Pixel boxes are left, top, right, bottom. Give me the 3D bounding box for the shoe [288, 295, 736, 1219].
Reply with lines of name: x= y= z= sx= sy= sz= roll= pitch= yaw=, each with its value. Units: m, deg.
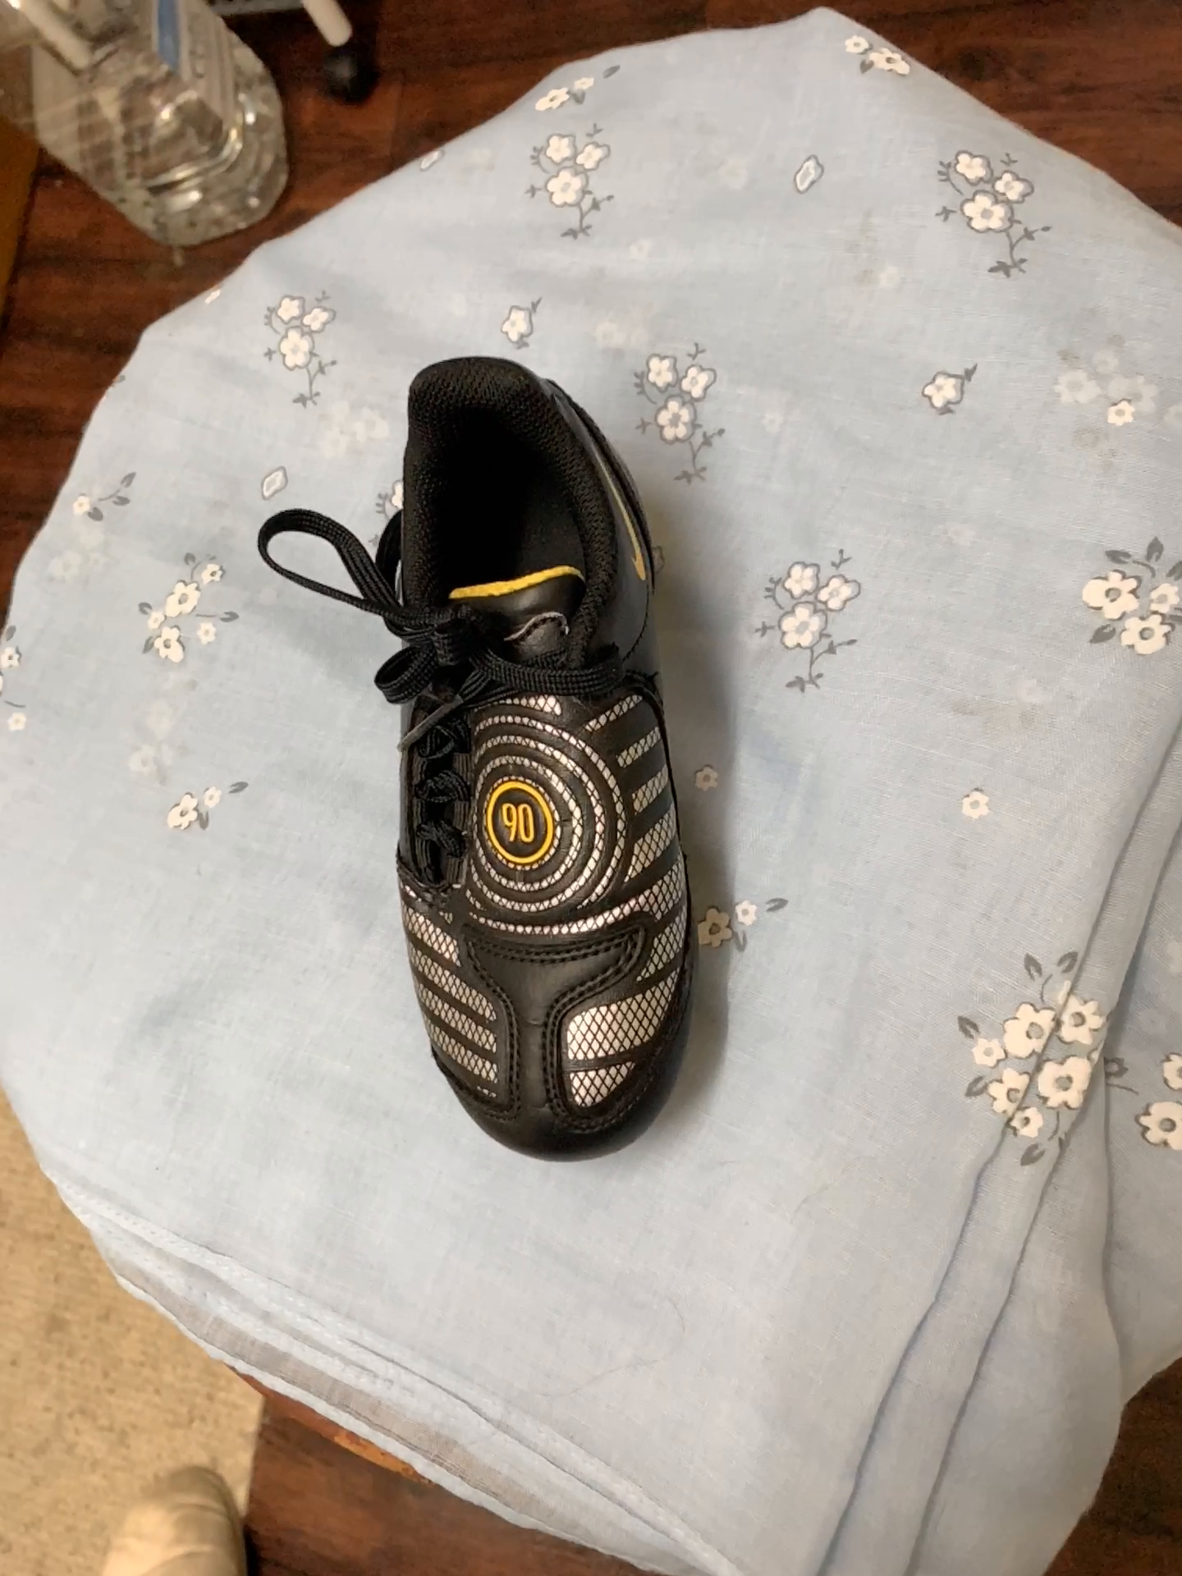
shoe: x=-0.013 y=-0.005 z=0.290 sx=0.080 sy=0.070 sz=0.190 roll=-3 pitch=79 yaw=17
